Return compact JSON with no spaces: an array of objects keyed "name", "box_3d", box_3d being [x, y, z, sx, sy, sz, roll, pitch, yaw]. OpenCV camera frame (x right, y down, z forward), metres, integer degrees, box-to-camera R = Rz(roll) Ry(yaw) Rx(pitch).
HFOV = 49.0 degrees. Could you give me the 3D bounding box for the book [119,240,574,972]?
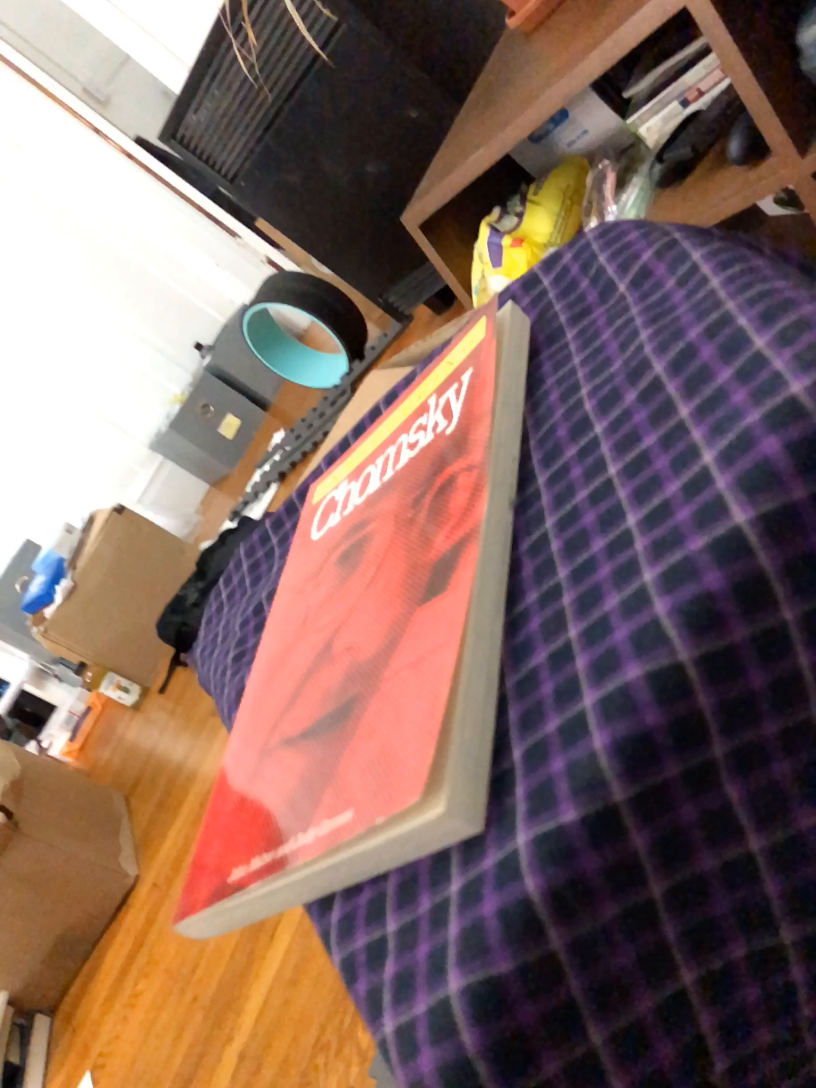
[{"name":"book","box_3d":[-0.015,0.014,0.329,0.180,0.020,0.241,-37,28,39]}]
